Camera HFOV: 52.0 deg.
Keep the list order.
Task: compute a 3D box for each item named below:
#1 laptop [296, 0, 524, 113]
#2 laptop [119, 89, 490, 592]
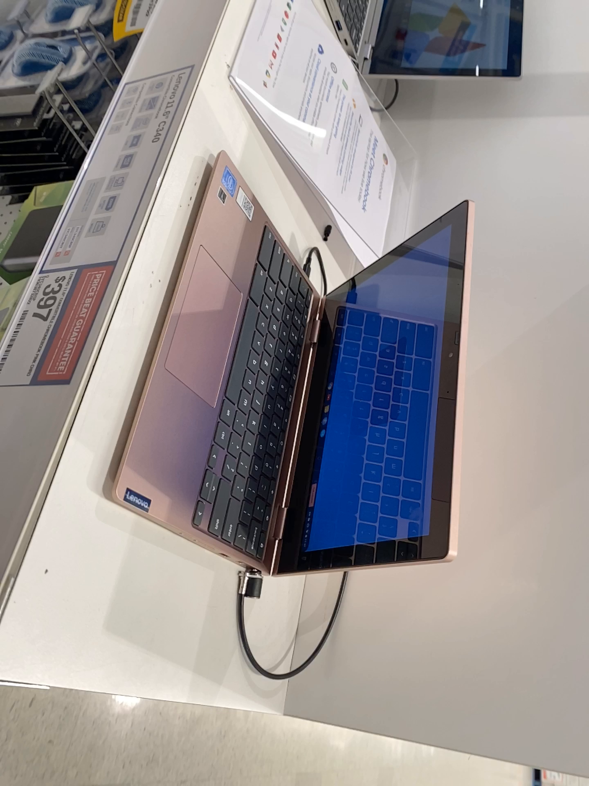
[{"bbox_3d":[0.170,-0.585,0.758,0.266,0.192,0.310,49,45,-52],"label":"laptop"},{"bbox_3d":[0.037,-0.025,0.452,0.197,0.168,0.280,47,47,-52],"label":"laptop"}]
